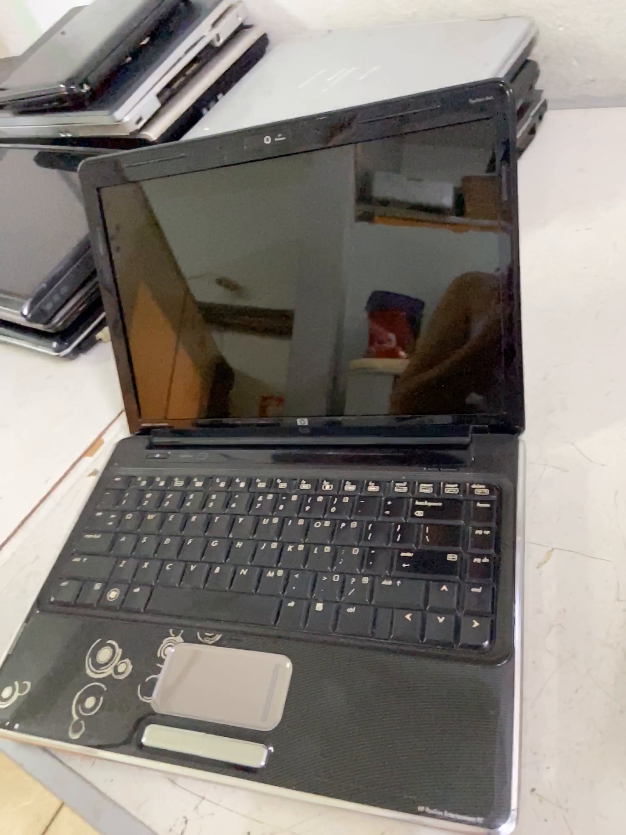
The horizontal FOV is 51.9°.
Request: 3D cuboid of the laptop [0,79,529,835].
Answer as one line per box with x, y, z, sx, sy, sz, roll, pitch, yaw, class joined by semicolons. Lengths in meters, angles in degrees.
-0.047;-0.004;0.402;0.330;0.176;0.373;-1;49;22;laptop
